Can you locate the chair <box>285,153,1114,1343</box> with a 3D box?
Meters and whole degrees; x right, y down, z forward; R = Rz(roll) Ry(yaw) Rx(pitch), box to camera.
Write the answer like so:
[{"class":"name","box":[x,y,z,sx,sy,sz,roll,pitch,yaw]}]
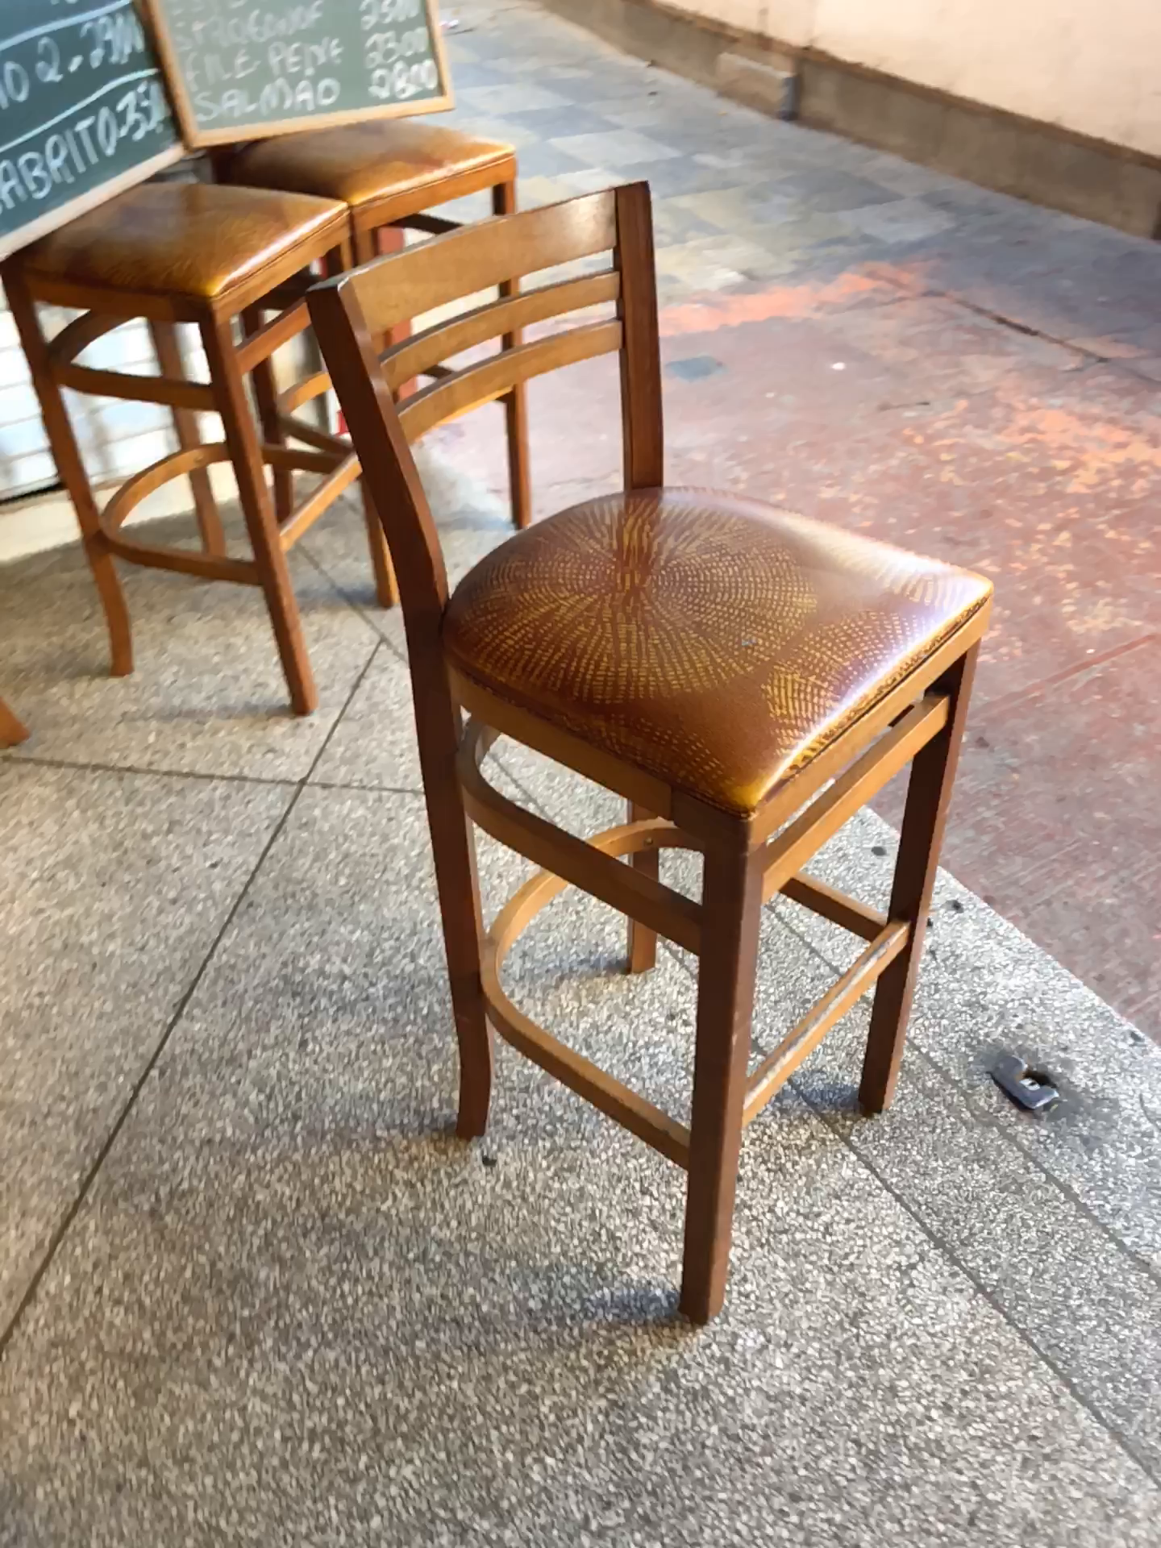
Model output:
[{"class":"chair","box":[0.092,0.013,1.210,0.431,0.973,0.402,29,48,31]}]
